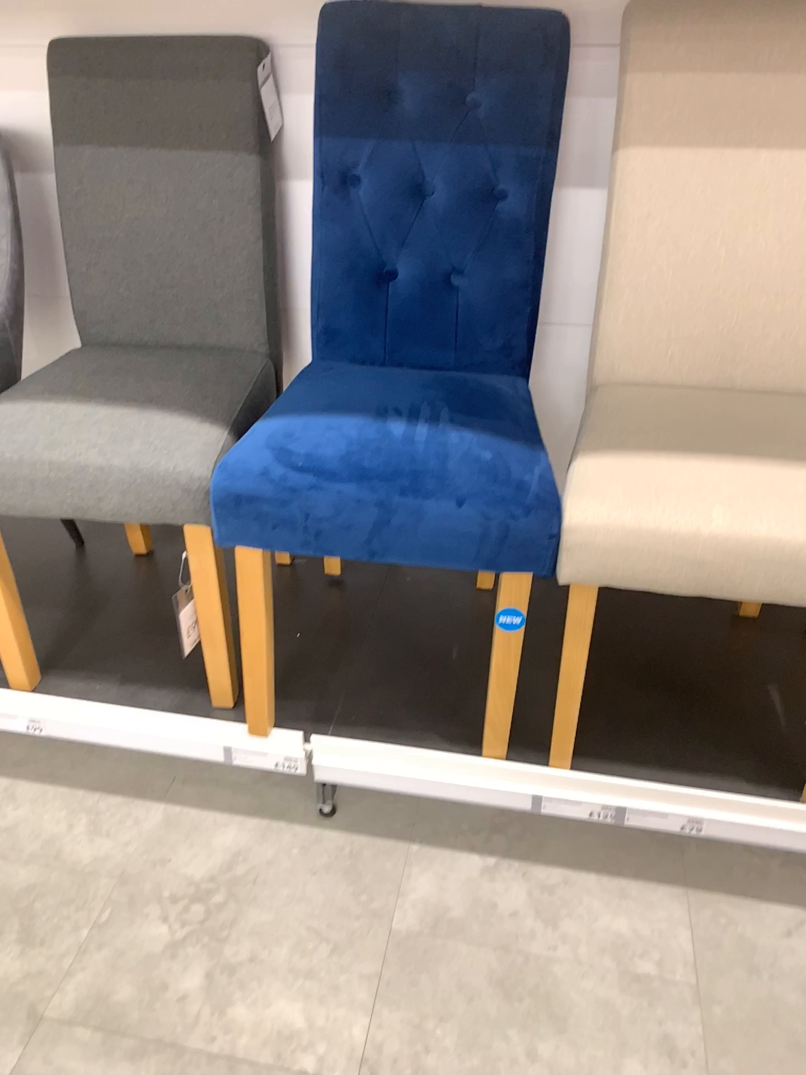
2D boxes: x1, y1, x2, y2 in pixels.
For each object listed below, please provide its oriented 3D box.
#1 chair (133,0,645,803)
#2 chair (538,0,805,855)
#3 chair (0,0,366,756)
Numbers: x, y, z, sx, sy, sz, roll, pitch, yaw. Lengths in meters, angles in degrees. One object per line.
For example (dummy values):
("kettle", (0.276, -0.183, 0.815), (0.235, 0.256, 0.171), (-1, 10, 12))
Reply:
("chair", (0.032, -0.255, 1.290), (0.489, 1.035, 0.672), (5, 27, 9))
("chair", (0.502, -0.213, 1.203), (0.489, 1.035, 0.672), (5, 27, 9))
("chair", (-0.382, -0.293, 1.380), (0.489, 1.025, 0.672), (5, 27, 9))
